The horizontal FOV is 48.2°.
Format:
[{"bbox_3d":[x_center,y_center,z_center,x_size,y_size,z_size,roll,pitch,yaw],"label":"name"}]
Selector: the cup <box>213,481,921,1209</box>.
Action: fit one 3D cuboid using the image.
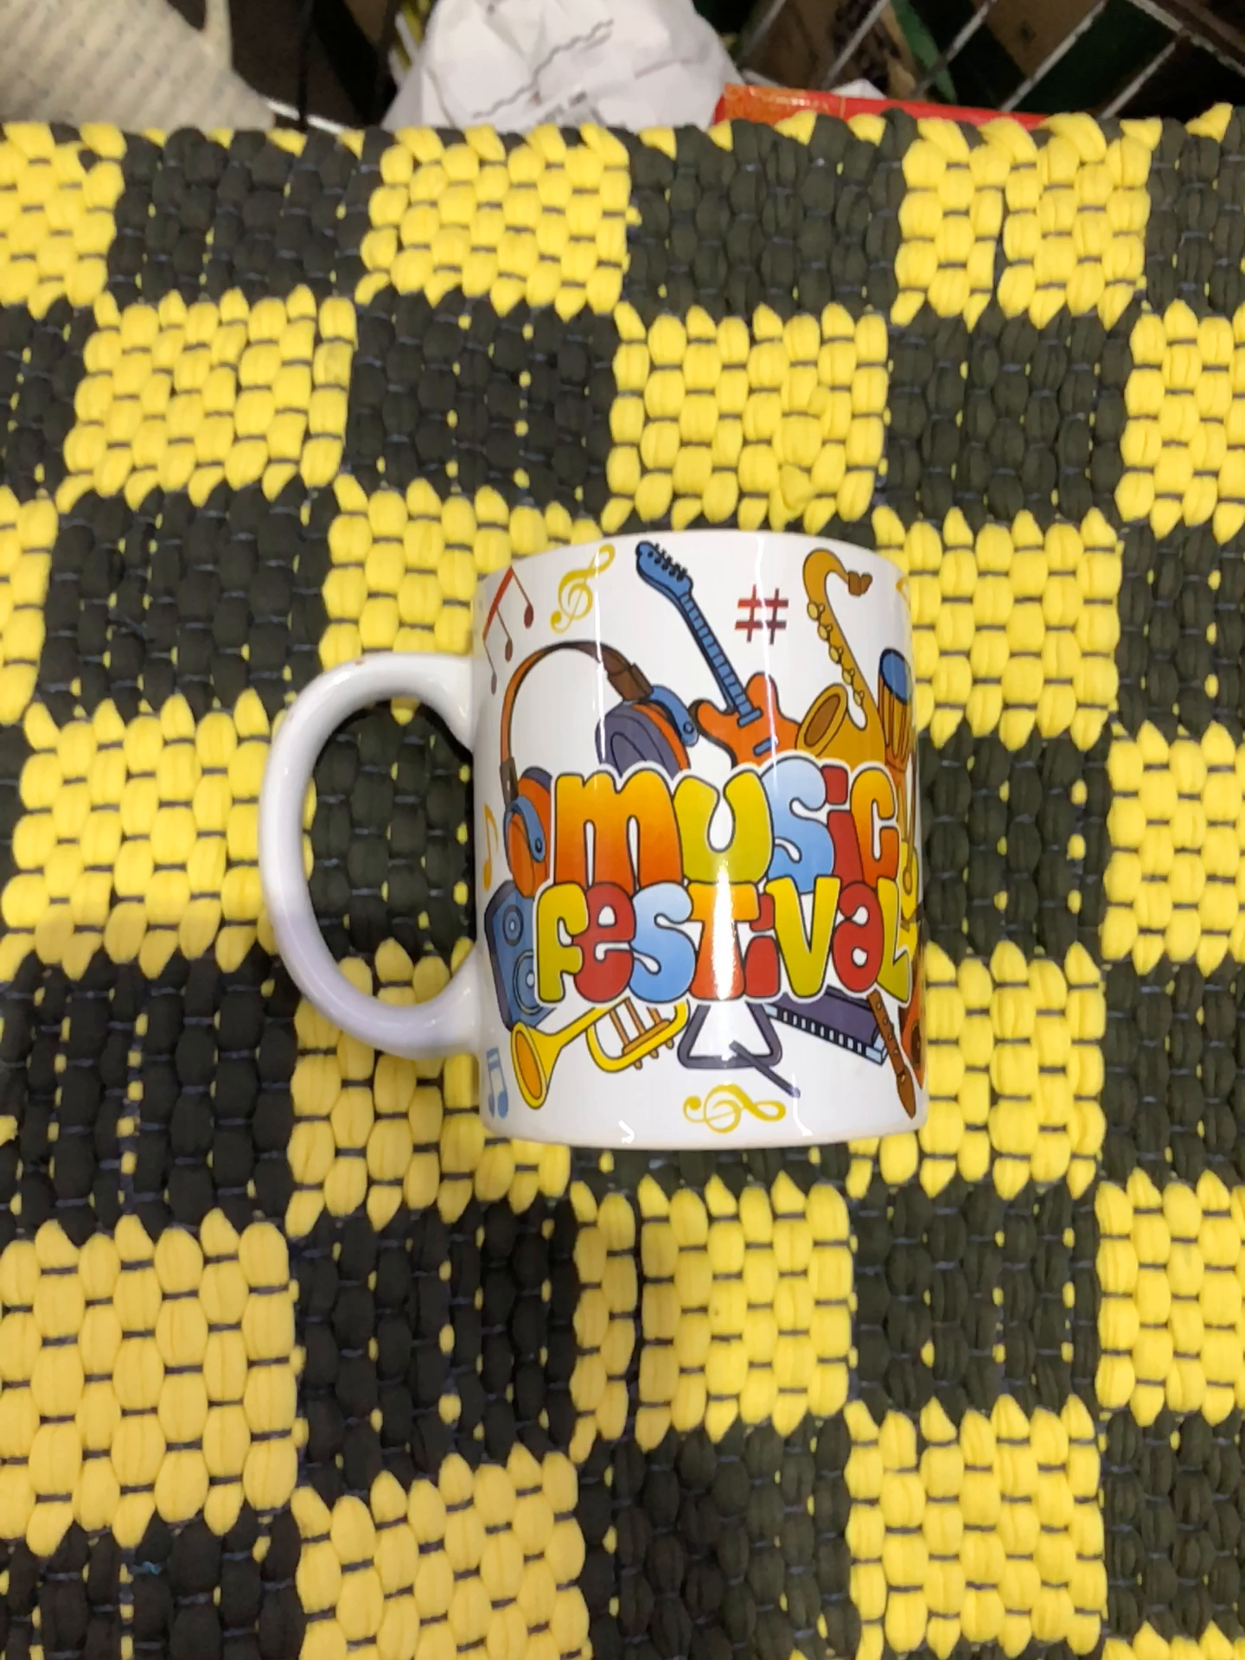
[{"bbox_3d":[-0.005,0.007,0.237,0.100,0.070,0.100,-2,83,16],"label":"cup"}]
